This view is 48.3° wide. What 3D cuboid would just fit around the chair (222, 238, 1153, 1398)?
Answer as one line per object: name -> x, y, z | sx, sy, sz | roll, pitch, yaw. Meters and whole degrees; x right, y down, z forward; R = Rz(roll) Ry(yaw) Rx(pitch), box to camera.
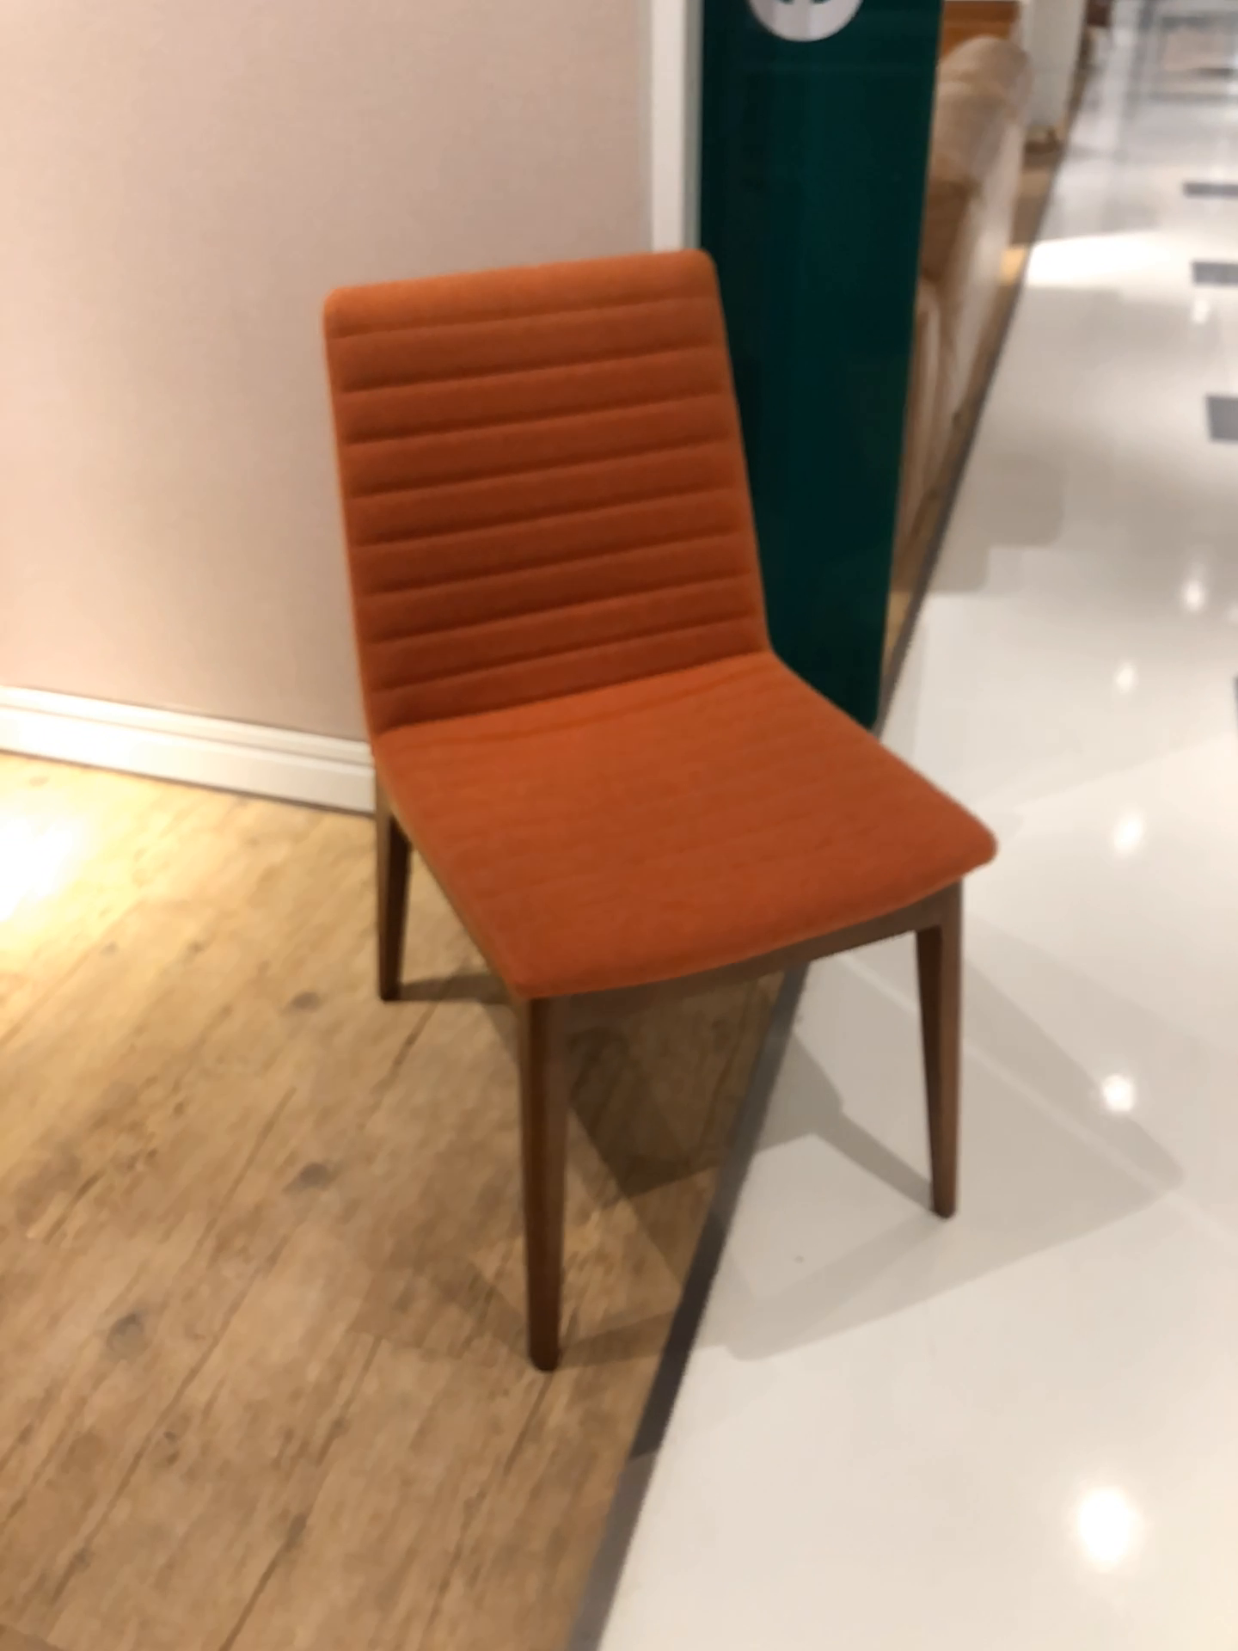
chair -> 0.011, -0.050, 1.339 | 0.531, 0.814, 0.634 | -14, 36, -19
